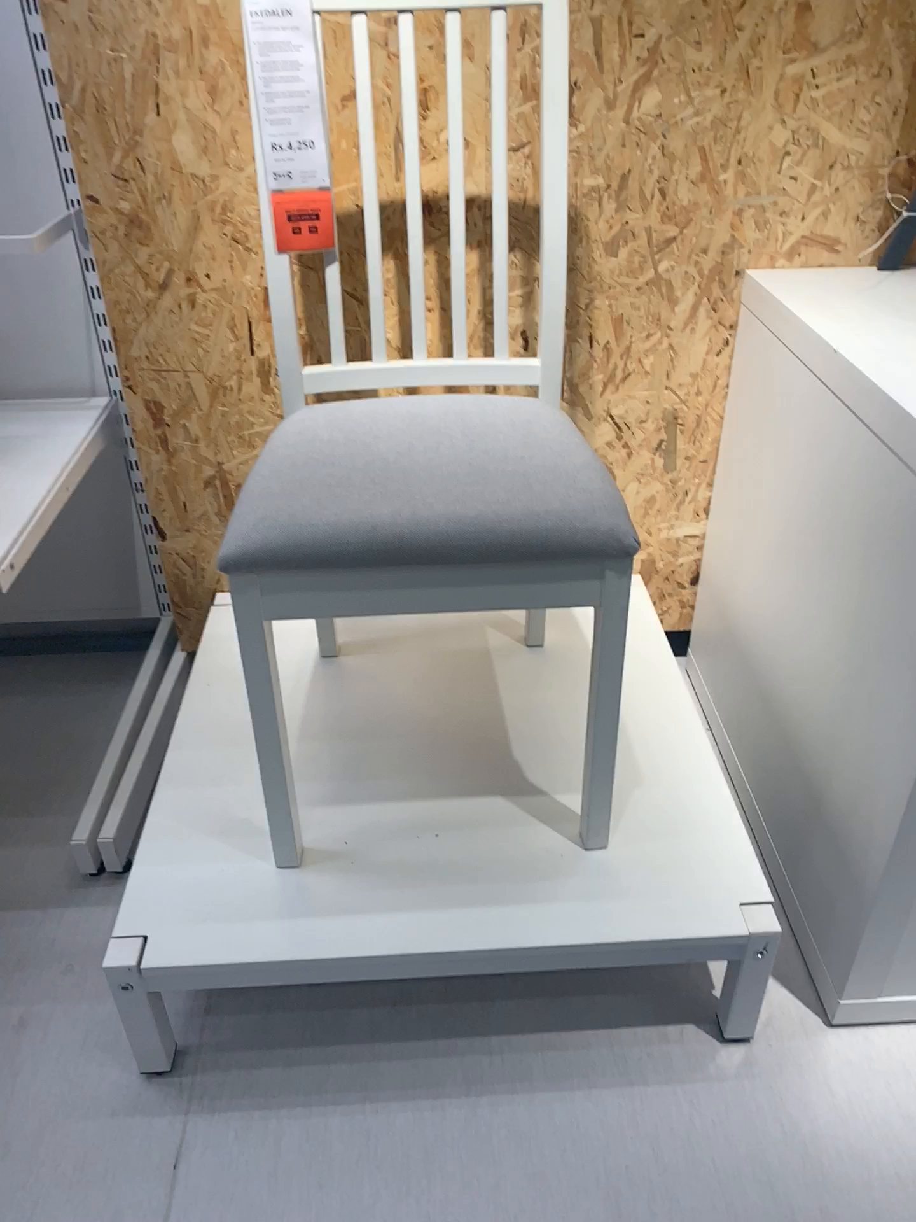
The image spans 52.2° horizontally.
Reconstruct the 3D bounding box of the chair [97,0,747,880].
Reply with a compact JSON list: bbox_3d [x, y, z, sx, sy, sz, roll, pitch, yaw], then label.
[{"bbox_3d":[-0.026,-0.207,1.115,0.450,0.955,0.492,-2,34,-2],"label":"chair"}]
